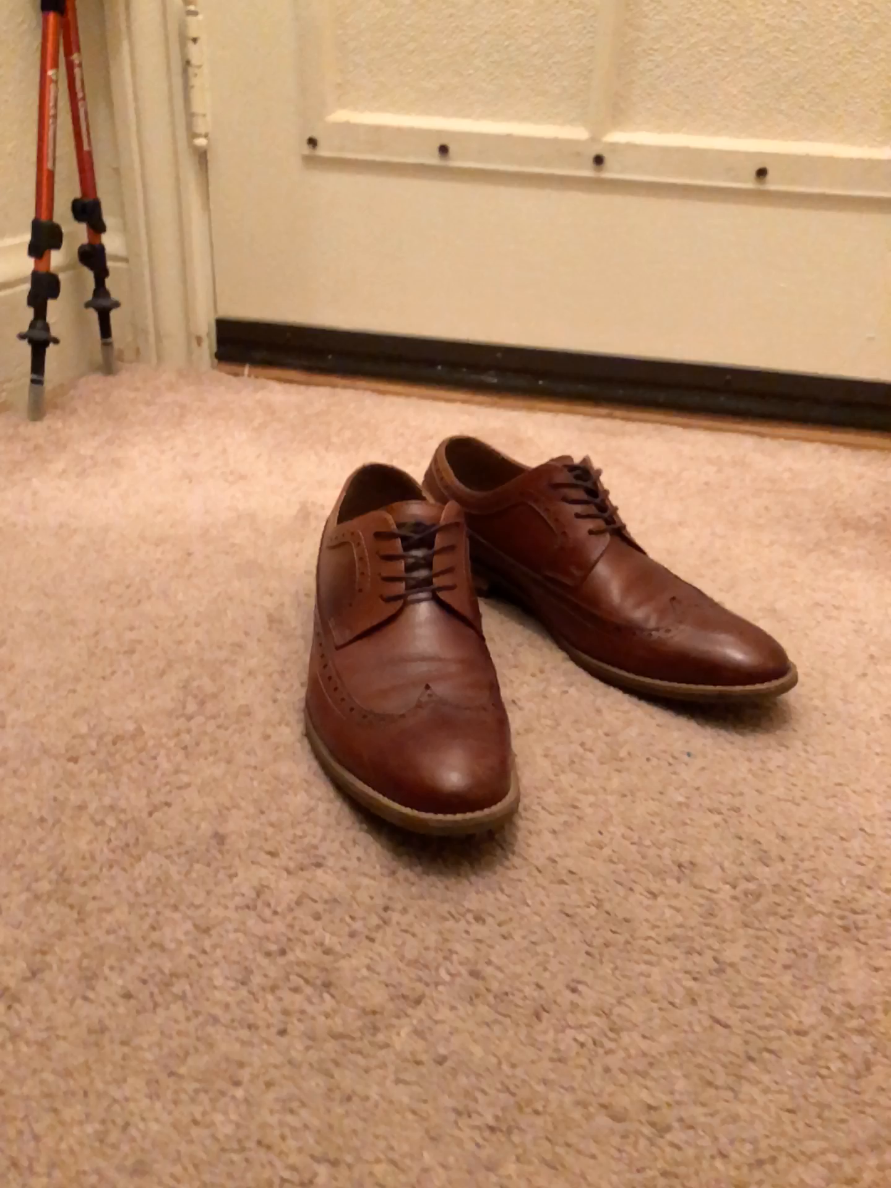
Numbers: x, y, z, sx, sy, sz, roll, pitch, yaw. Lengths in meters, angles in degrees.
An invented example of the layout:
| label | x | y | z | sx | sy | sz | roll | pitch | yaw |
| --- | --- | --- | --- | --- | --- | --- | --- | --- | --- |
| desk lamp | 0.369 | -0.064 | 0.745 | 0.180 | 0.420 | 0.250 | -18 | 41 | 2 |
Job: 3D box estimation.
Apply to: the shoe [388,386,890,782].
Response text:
| label | x | y | z | sx | sy | sz | roll | pitch | yaw |
| --- | --- | --- | --- | --- | --- | --- | --- | --- | --- |
| shoe | 0.103 | -0.028 | 0.630 | 0.115 | 0.114 | 0.311 | -19 | 36 | -35 |

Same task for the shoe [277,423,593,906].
| label | x | y | z | sx | sy | sz | roll | pitch | yaw |
| --- | --- | --- | --- | --- | --- | --- | --- | --- | --- |
| shoe | -0.028 | 0.011 | 0.556 | 0.115 | 0.114 | 0.312 | -3 | 29 | -11 |
